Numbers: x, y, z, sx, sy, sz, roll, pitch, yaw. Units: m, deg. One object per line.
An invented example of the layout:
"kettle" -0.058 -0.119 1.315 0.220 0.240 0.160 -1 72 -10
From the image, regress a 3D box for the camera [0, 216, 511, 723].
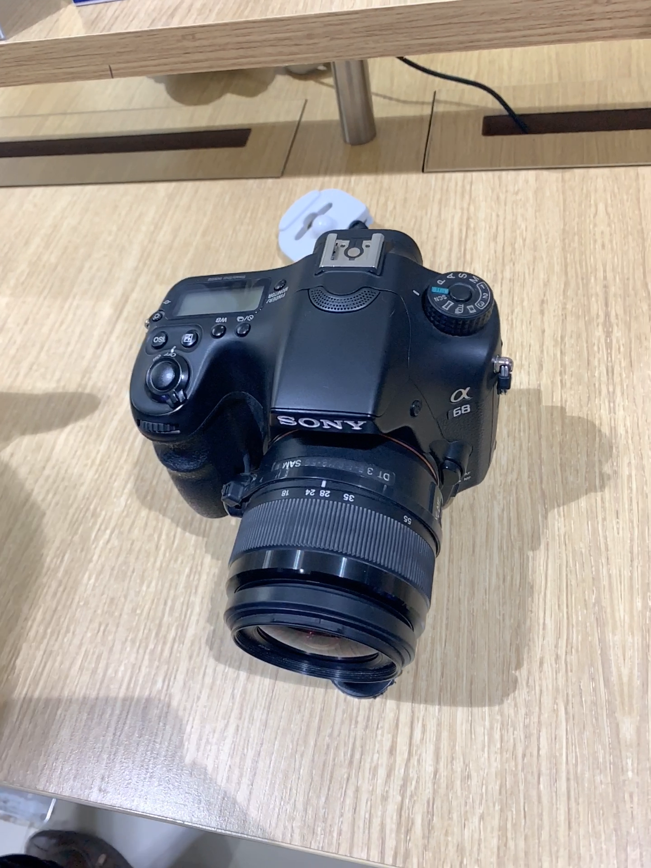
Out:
"camera" -0.005 0.011 0.236 0.130 0.100 0.135 2 57 13
